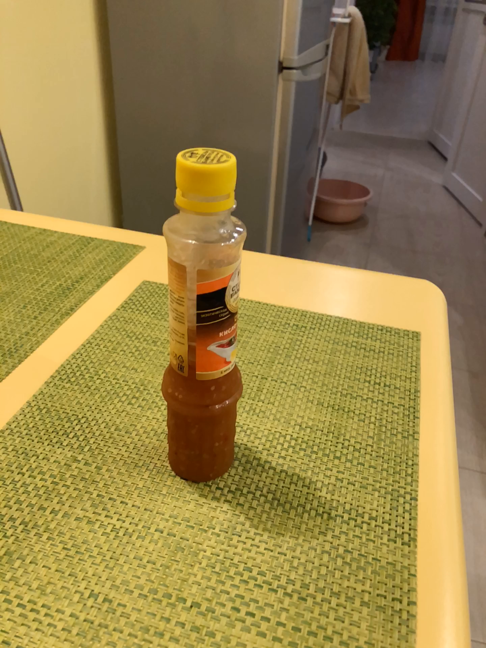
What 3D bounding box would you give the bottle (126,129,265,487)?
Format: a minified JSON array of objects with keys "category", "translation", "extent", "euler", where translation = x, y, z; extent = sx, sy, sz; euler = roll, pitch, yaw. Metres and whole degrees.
[{"category":"bottle","translation":[-0.027,0.000,0.323],"extent":[0.060,0.208,0.060],"euler":[3,32,-2]}]
